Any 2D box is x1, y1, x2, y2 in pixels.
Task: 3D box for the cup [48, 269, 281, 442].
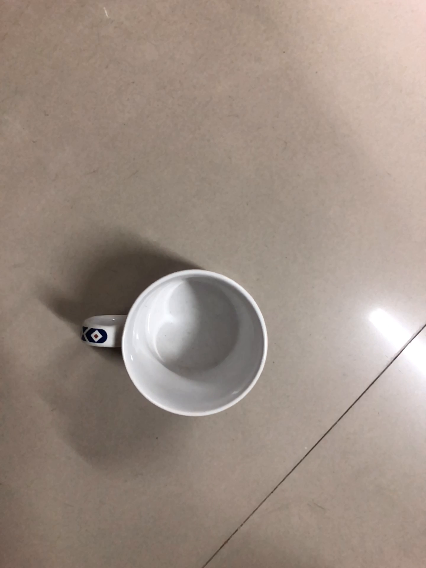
[{"bbox_3d":[-0.026,0.035,0.274,0.110,0.080,0.080,3,92,-3],"label":"cup"}]
